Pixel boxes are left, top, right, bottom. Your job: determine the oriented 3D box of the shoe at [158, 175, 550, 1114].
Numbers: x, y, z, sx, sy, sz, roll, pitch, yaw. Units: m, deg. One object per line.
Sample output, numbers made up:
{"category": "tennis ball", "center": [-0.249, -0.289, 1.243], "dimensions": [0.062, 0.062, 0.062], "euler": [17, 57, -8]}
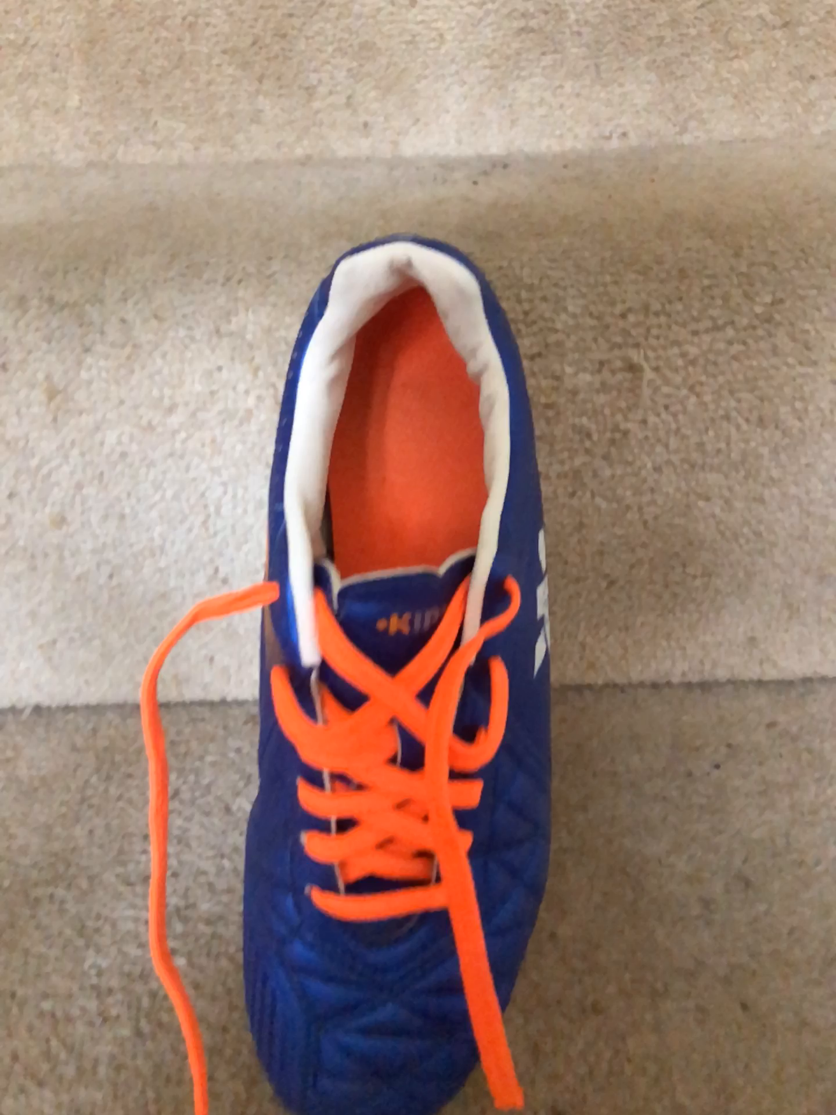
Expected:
{"category": "shoe", "center": [-0.011, 0.027, 0.242], "dimensions": [0.070, 0.210, 0.100], "euler": [3, -7, 0]}
